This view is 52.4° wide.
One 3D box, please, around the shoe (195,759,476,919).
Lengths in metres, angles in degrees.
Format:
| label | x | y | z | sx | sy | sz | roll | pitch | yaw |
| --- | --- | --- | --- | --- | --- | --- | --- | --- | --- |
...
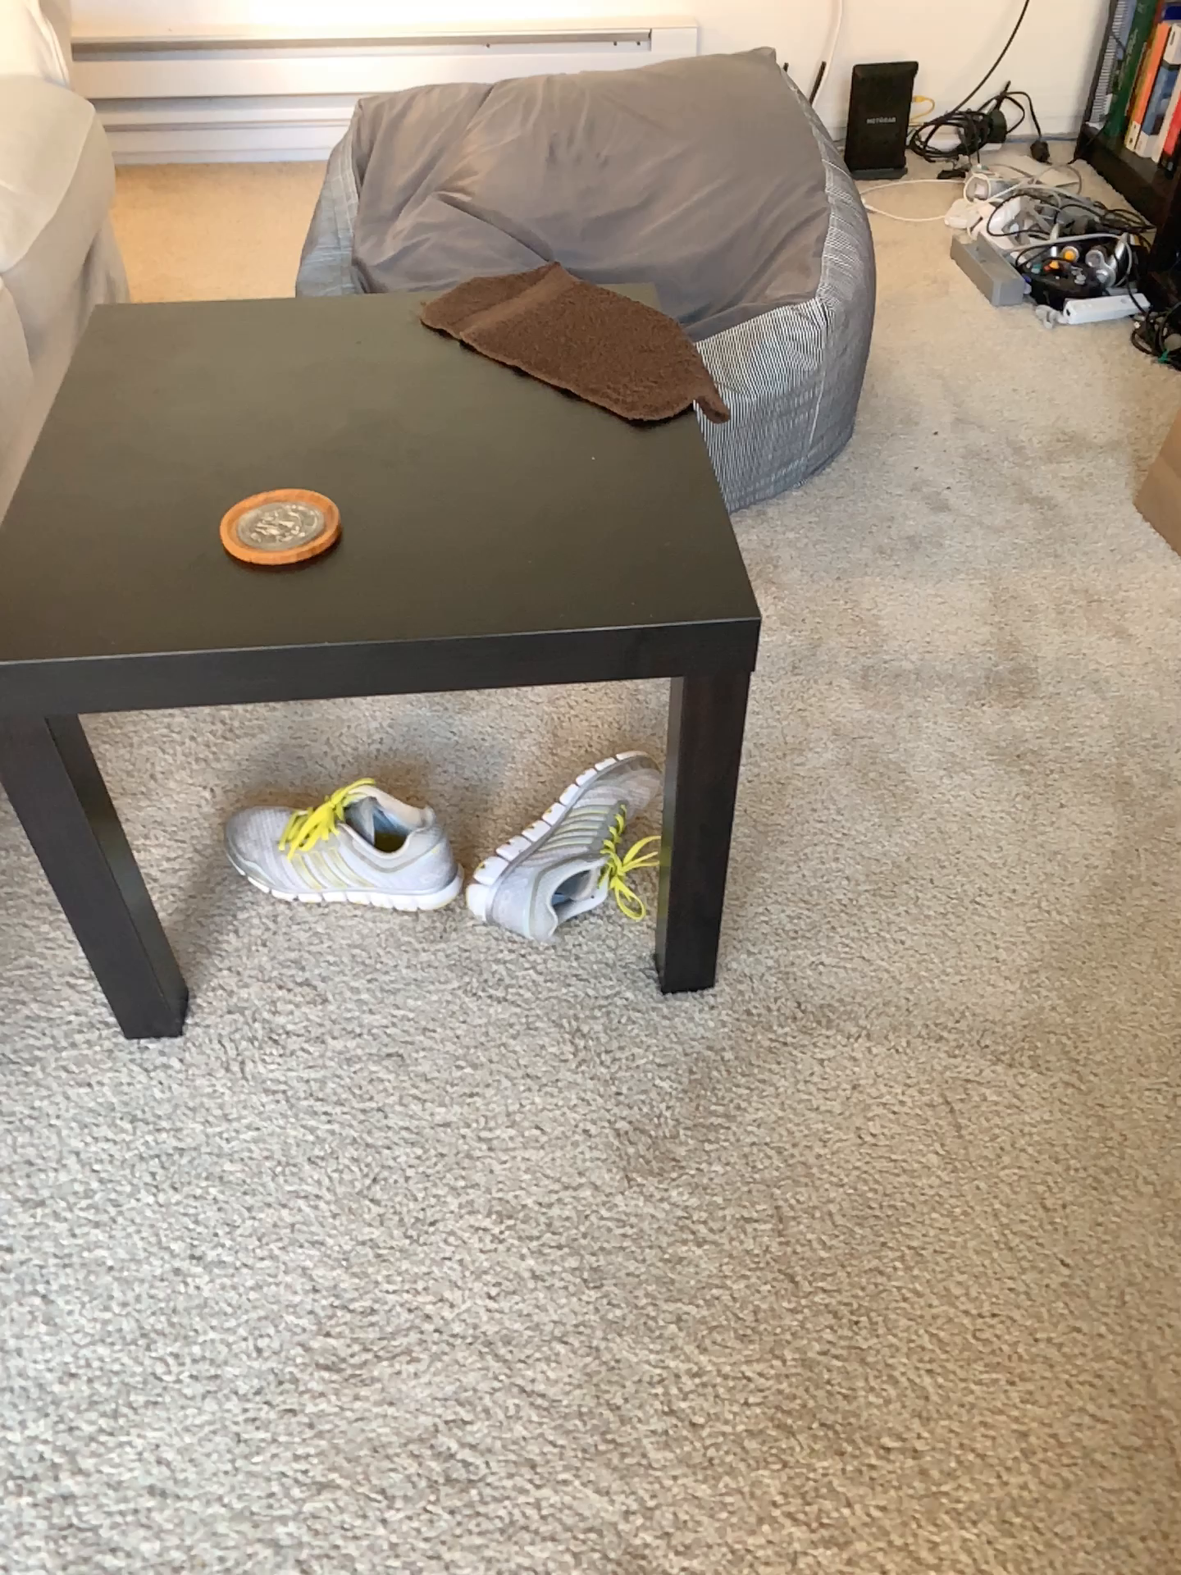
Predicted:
| label | x | y | z | sx | sy | sz | roll | pitch | yaw |
| --- | --- | --- | --- | --- | --- | --- | --- | --- | --- |
| shoe | -0.251 | 0.051 | 1.211 | 0.250 | 0.099 | 0.090 | 6 | 46 | 6 |

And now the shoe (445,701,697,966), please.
| label | x | y | z | sx | sy | sz | roll | pitch | yaw |
| --- | --- | --- | --- | --- | --- | --- | --- | --- | --- |
| shoe | -0.011 | 0.036 | 1.135 | 0.100 | 0.090 | 0.251 | 24 | 49 | 29 |
